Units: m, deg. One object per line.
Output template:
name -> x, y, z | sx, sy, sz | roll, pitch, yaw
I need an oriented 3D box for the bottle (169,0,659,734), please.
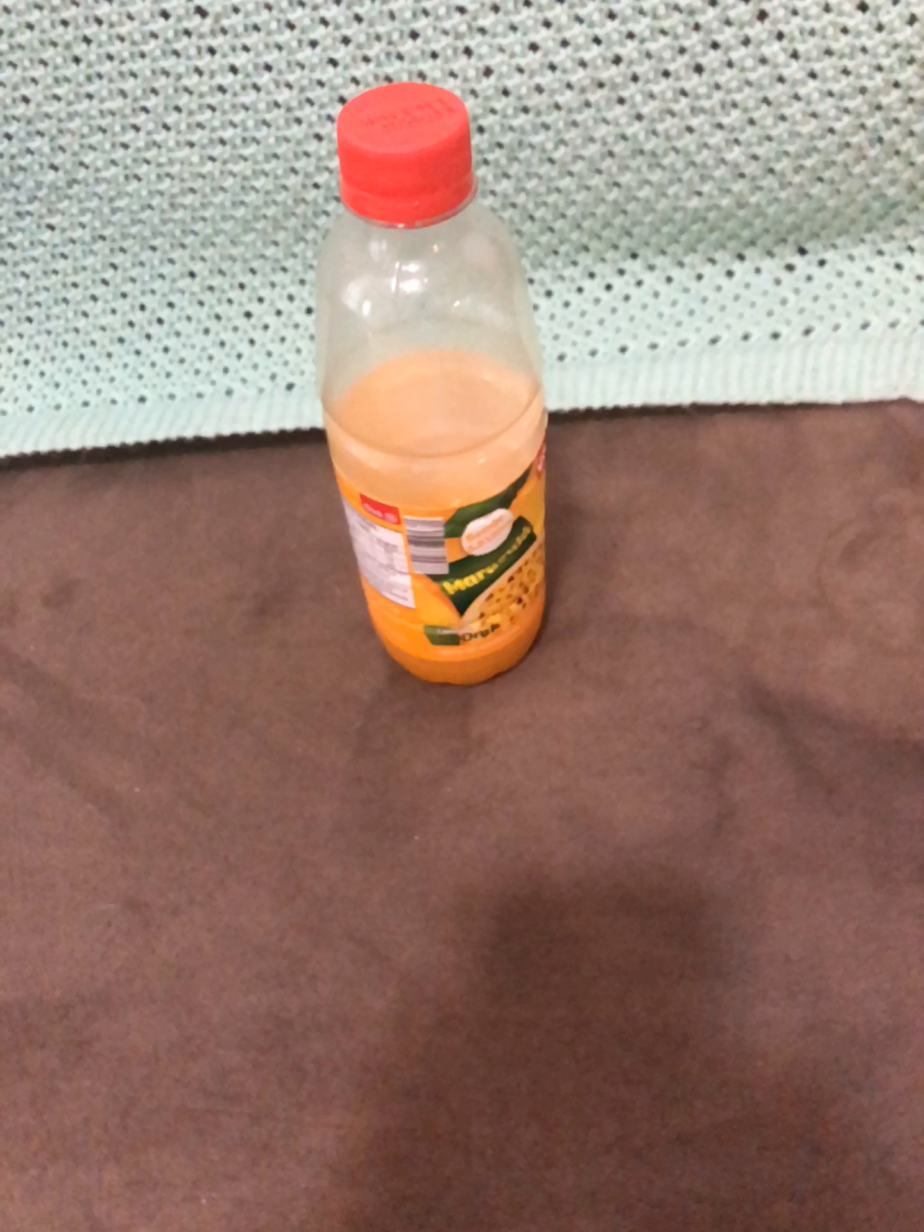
bottle -> -0.005, -0.062, 0.307 | 0.080, 0.199, 0.080 | -3, 55, 4
